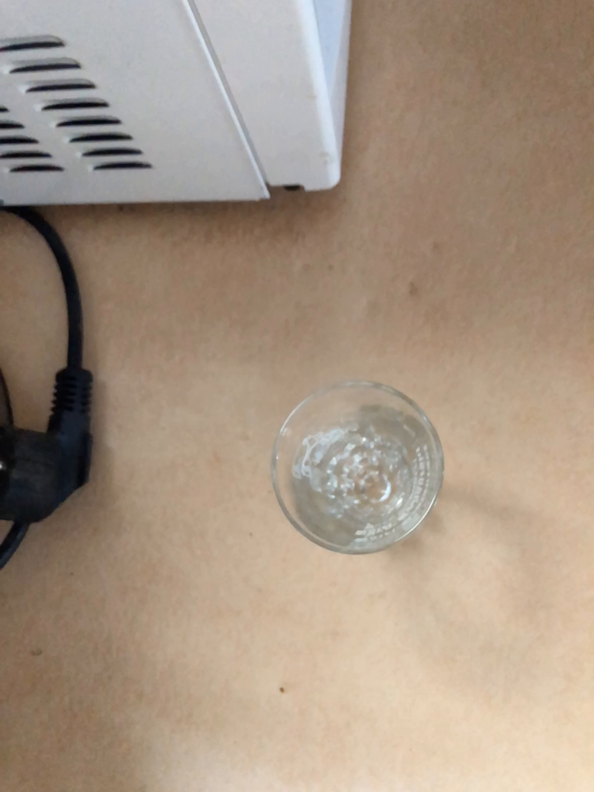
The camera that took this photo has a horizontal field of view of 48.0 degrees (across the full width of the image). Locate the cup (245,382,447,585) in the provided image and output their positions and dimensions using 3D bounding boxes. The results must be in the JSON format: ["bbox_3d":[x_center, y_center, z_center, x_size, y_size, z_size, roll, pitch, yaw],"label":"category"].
[{"bbox_3d":[0.021,0.033,0.230,0.050,0.070,0.050,-3,75,11],"label":"cup"}]
